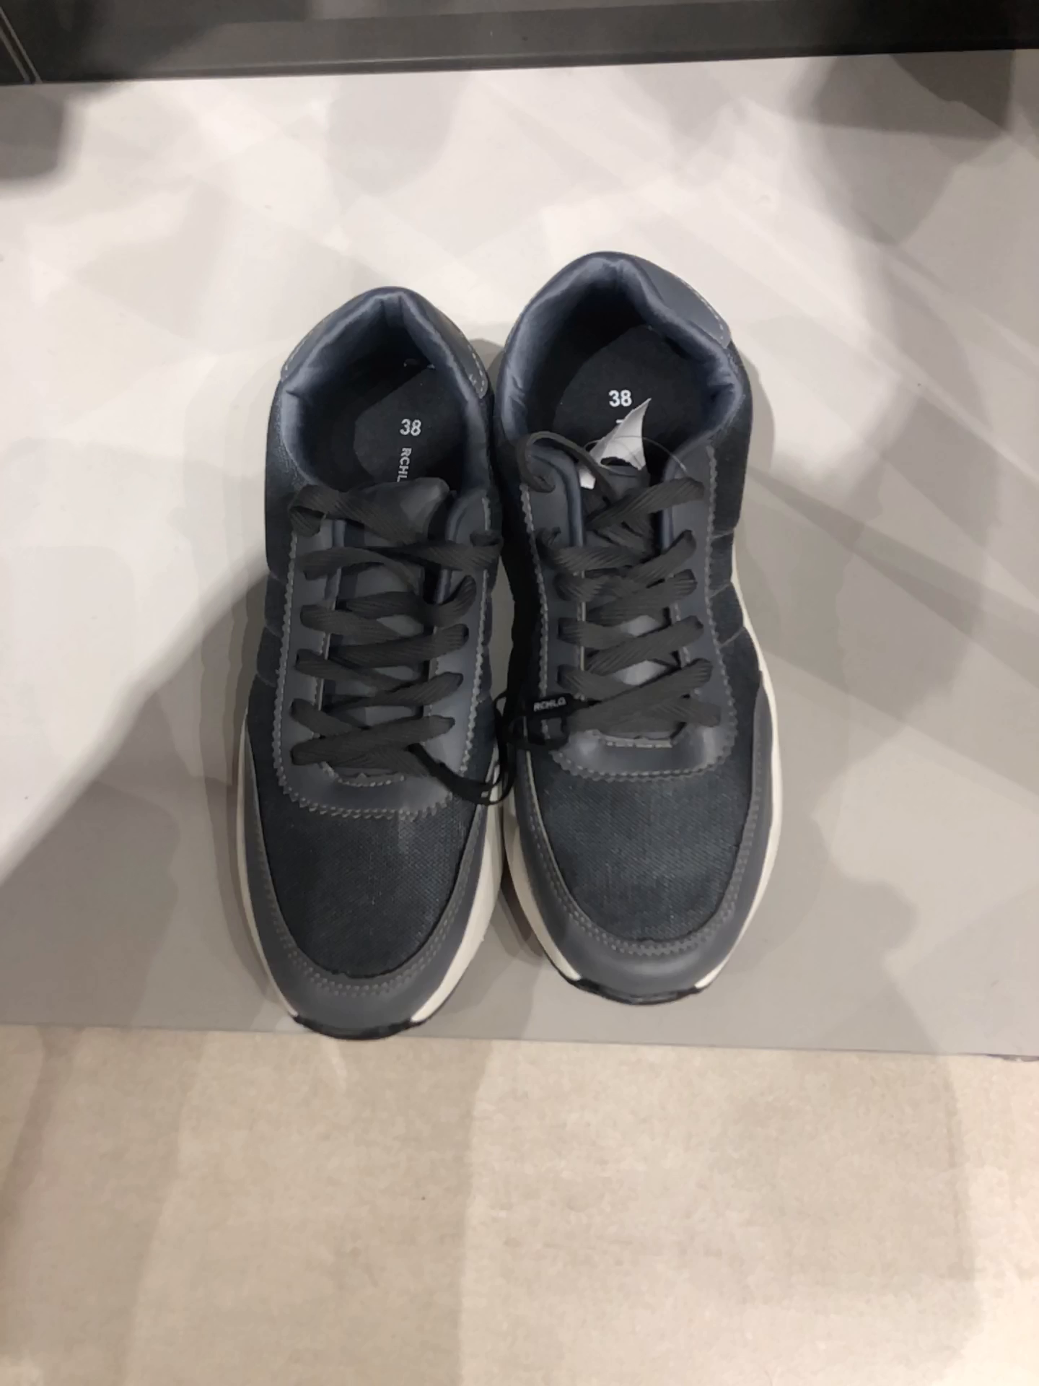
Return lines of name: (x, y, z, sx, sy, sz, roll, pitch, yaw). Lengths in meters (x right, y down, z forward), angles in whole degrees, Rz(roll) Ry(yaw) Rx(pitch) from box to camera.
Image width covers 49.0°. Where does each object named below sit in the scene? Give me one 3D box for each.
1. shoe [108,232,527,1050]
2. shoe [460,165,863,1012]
shoe: (-0.058, -0.018, 0.419, 0.110, 0.100, 0.281, 0, 71, 4)
shoe: (0.040, -0.036, 0.408, 0.110, 0.100, 0.281, -2, 71, 4)
